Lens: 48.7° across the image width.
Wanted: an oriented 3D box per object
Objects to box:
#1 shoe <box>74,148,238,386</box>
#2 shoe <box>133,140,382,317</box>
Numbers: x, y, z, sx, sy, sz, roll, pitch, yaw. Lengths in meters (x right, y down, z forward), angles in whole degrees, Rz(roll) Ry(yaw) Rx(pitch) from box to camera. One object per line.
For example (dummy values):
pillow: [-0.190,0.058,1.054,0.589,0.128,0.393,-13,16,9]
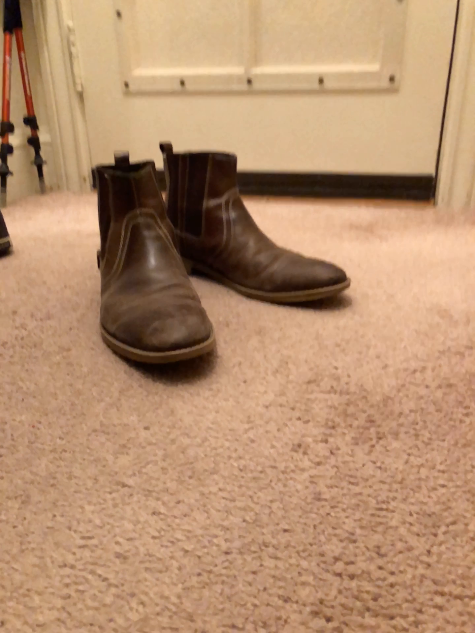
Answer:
shoe: [-0.099,-0.079,0.555,0.119,0.158,0.299,-7,24,-15]
shoe: [0.012,-0.130,0.667,0.298,0.158,0.119,20,31,39]
